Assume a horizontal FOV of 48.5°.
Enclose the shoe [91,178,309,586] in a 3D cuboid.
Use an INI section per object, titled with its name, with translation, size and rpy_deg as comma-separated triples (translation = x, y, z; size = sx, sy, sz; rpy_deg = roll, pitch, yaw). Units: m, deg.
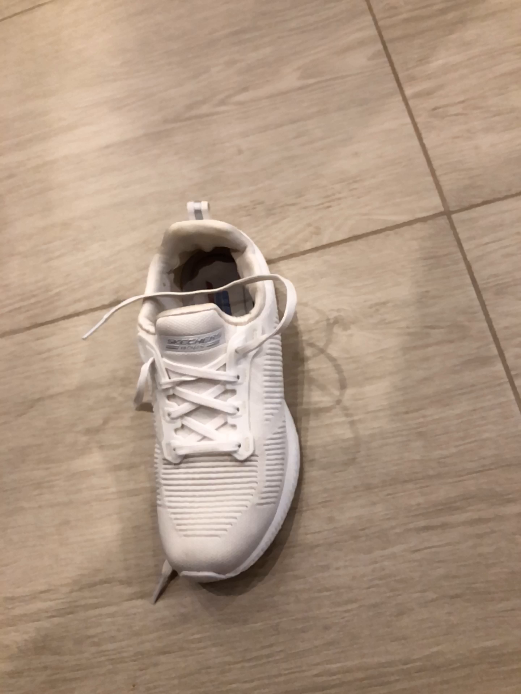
[shoe]
translation = -0.028, 0.029, 0.376
size = 0.090, 0.120, 0.231
rpy_deg = -6, 68, 13
